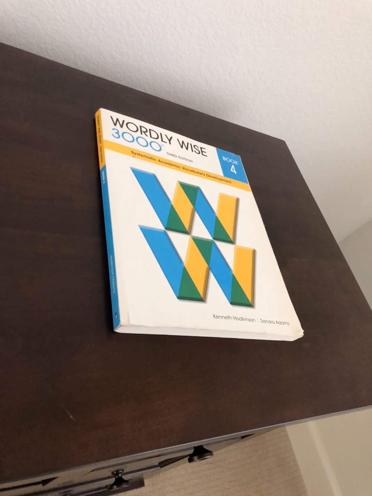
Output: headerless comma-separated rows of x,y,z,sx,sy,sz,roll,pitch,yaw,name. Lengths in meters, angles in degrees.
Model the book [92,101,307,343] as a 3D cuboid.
0.009,-0.031,0.460,0.218,0.020,0.274,10,52,-31,book
